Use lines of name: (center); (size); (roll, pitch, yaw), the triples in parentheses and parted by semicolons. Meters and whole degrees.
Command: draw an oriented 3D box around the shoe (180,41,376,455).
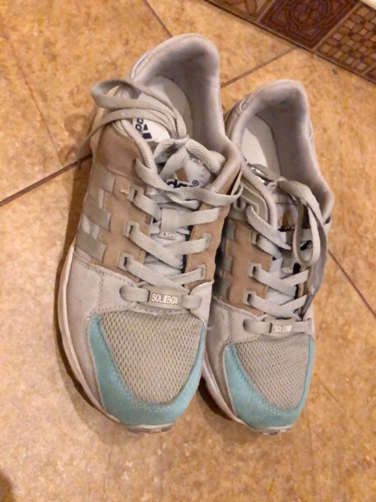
shoe: (0.067, -0.005, 0.311); (0.108, 0.080, 0.260); (4, 72, -26)

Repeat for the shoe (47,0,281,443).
shoe: (-0.019, -0.025, 0.275); (0.110, 0.080, 0.260); (7, 71, -26)
